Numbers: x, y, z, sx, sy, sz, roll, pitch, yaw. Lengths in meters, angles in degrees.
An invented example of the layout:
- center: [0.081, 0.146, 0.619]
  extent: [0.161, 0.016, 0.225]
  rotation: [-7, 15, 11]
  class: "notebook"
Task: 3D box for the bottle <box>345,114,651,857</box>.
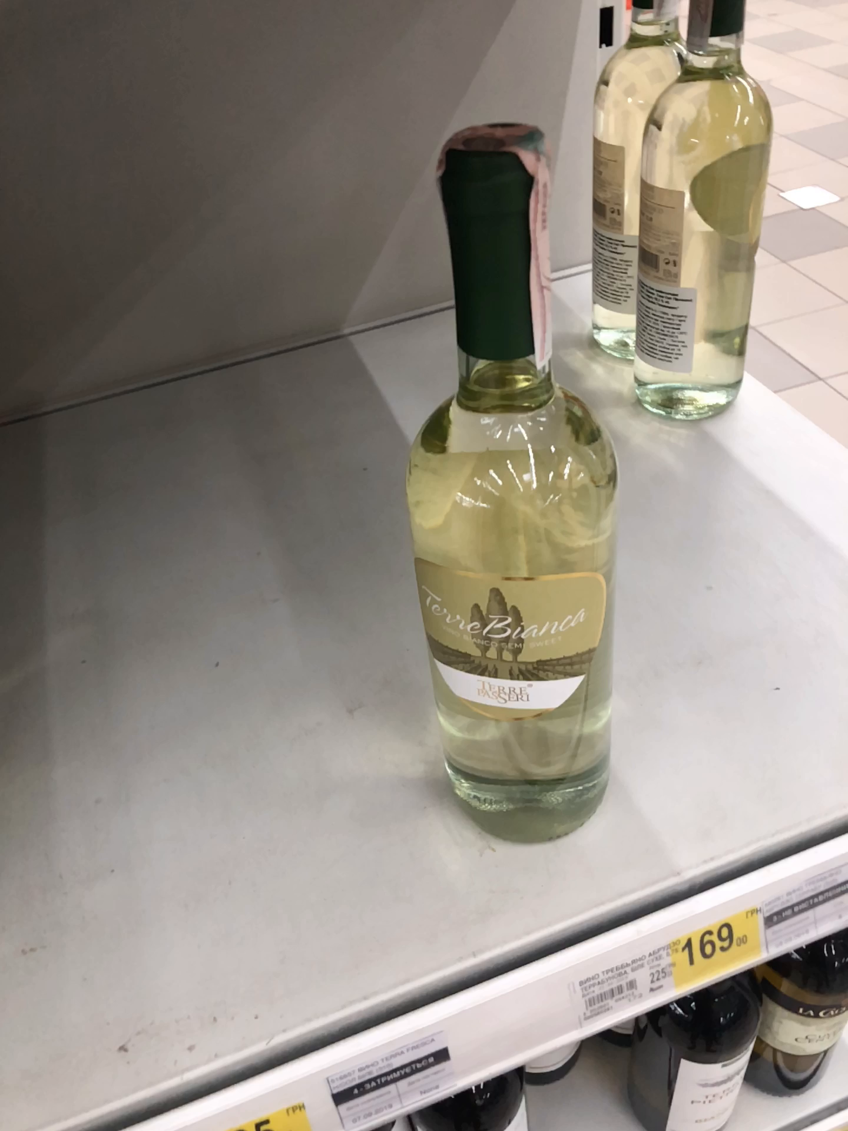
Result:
- center: [0.034, -0.003, 0.329]
  extent: [0.070, 0.269, 0.070]
  rotation: [-4, 42, 4]
  class: "bottle"
